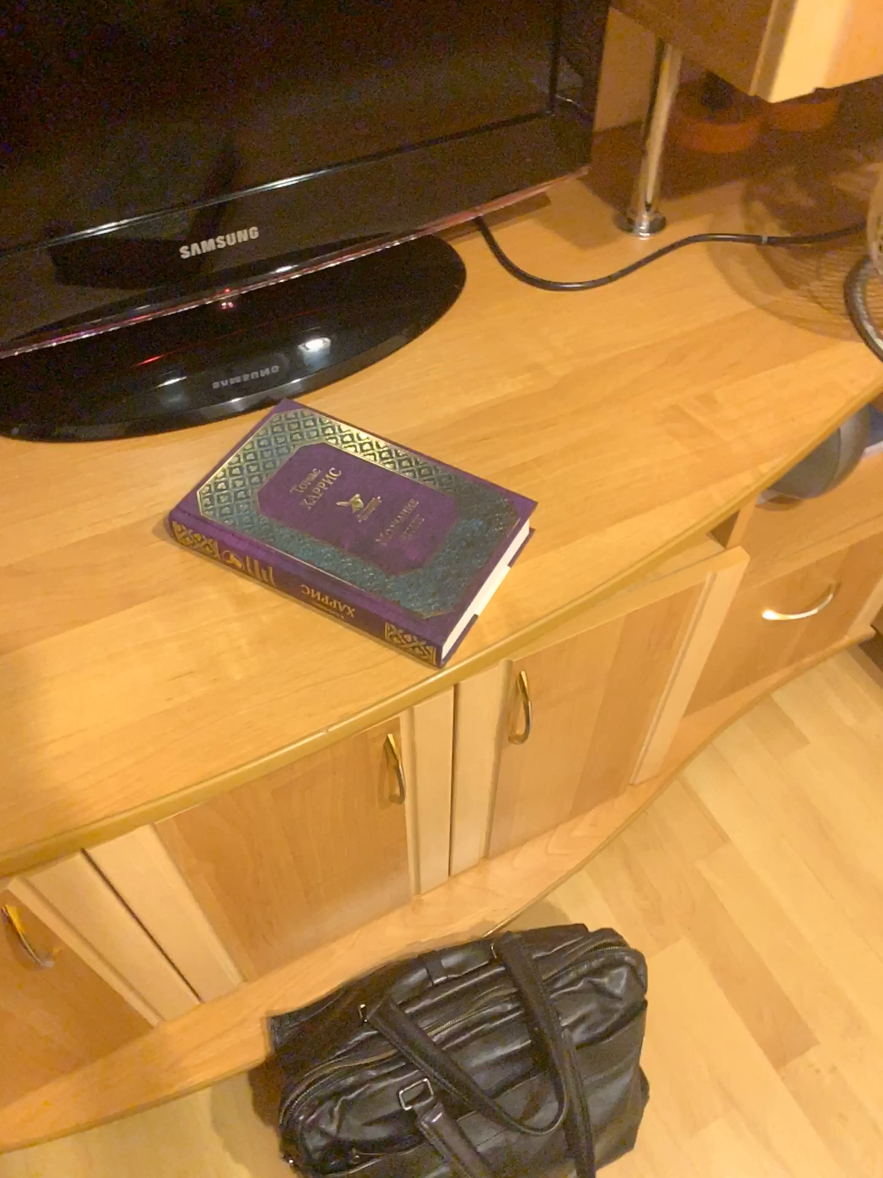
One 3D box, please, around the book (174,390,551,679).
[{"bbox_3d":[-0.049,-0.043,0.586,0.200,0.040,0.131,25,56,16],"label":"book"}]
